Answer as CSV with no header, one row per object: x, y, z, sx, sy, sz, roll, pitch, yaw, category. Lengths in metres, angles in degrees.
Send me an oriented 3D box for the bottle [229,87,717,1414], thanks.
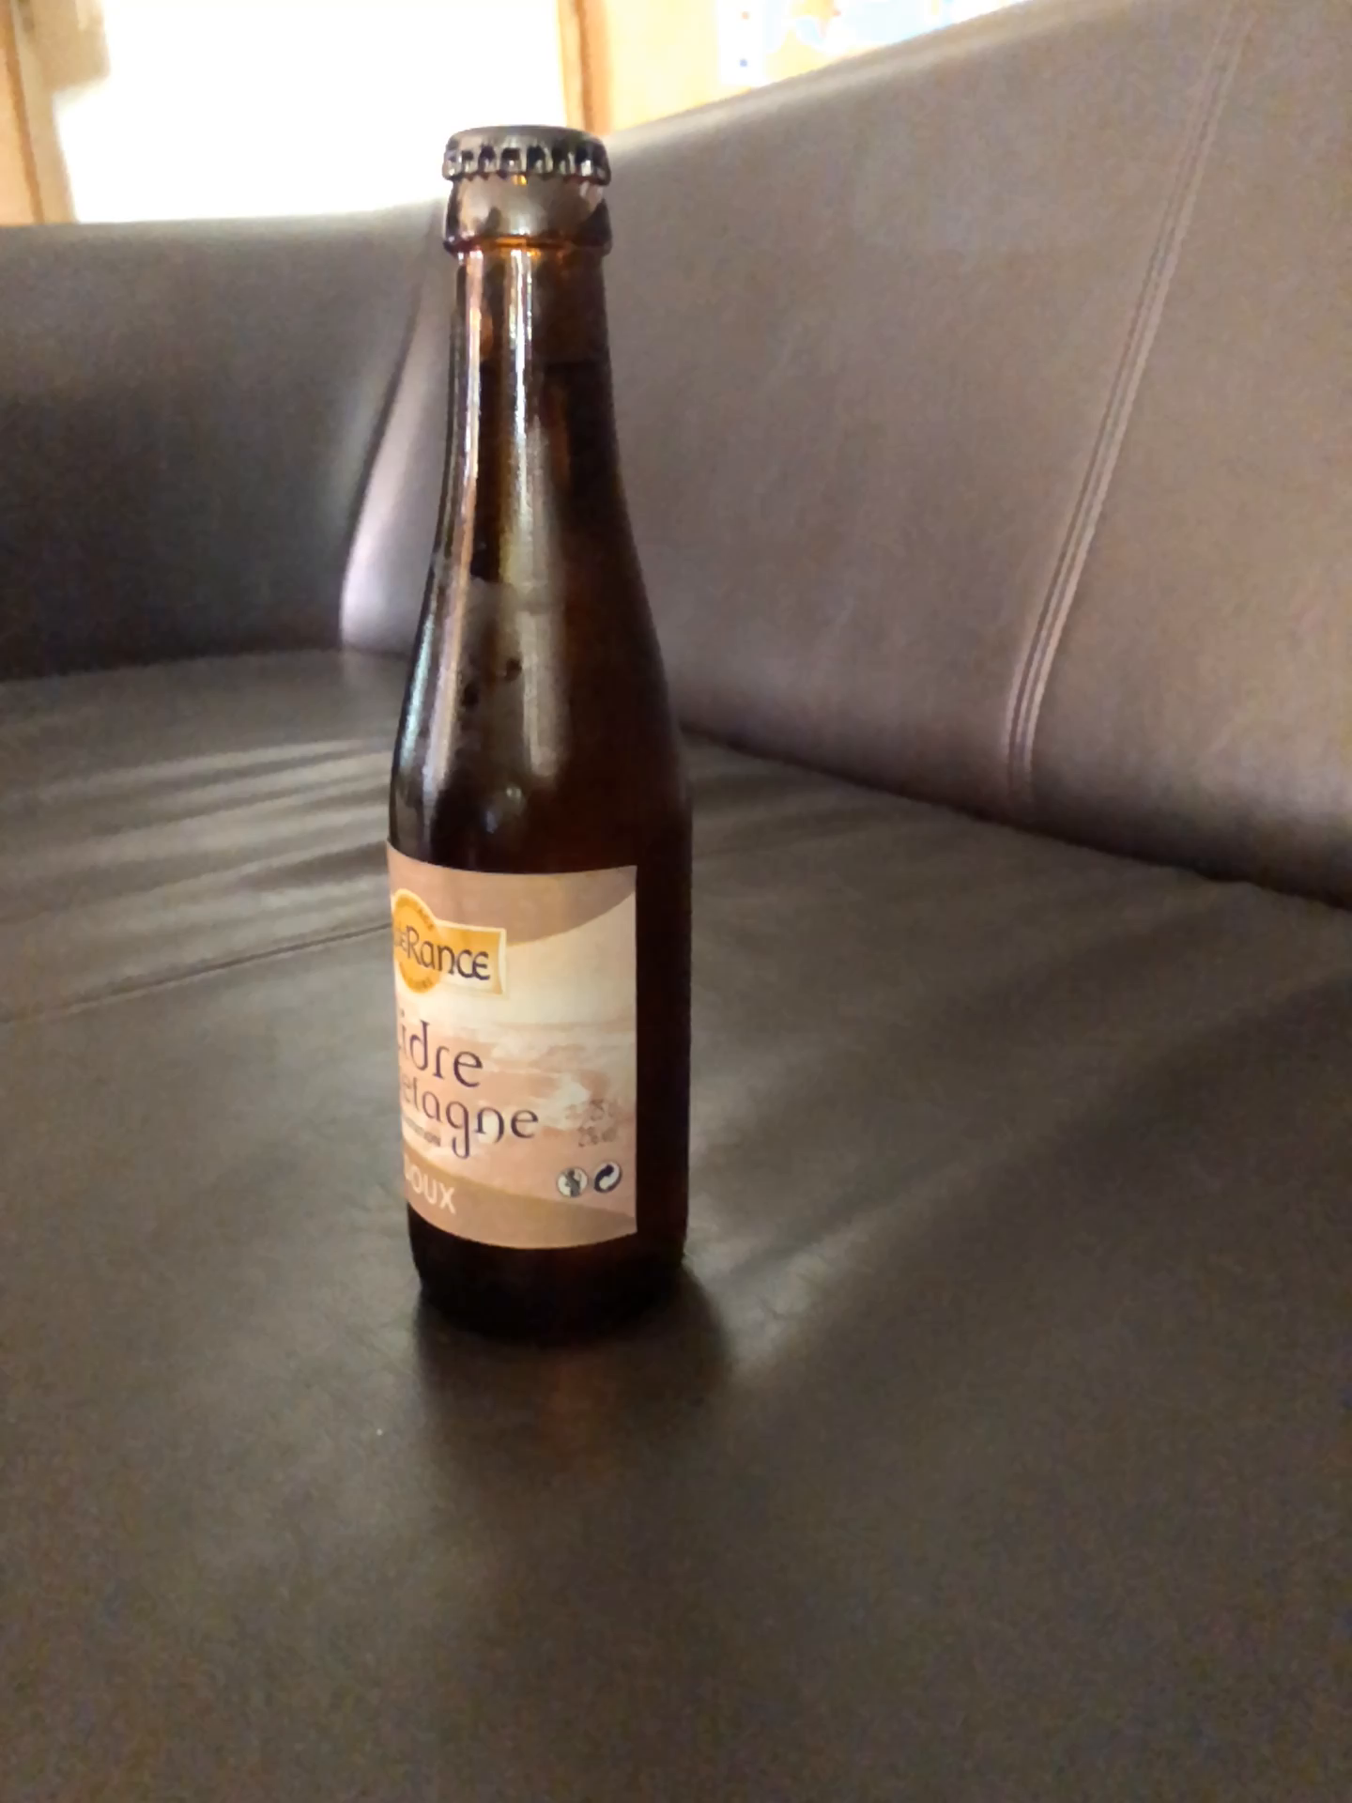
-0.034,-0.023,0.274,0.060,0.209,0.060,0,15,0,bottle
